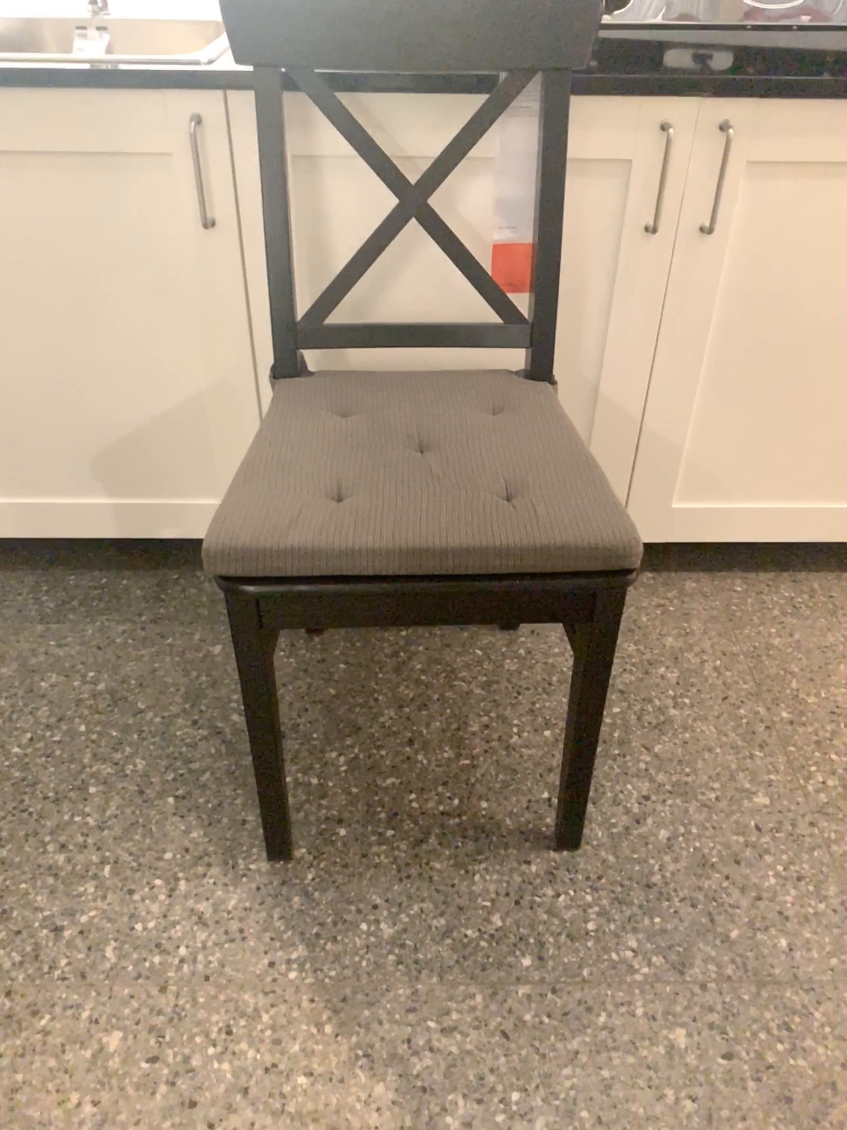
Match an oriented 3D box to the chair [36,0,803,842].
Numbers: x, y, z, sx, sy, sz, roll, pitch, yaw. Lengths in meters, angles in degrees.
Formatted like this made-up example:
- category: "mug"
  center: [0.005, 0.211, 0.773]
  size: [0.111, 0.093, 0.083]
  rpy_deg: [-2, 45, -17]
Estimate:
- category: "chair"
  center: [-0.016, -0.167, 0.906]
  size: [0.420, 0.787, 0.492]
  rpy_deg: [-1, 37, -3]
